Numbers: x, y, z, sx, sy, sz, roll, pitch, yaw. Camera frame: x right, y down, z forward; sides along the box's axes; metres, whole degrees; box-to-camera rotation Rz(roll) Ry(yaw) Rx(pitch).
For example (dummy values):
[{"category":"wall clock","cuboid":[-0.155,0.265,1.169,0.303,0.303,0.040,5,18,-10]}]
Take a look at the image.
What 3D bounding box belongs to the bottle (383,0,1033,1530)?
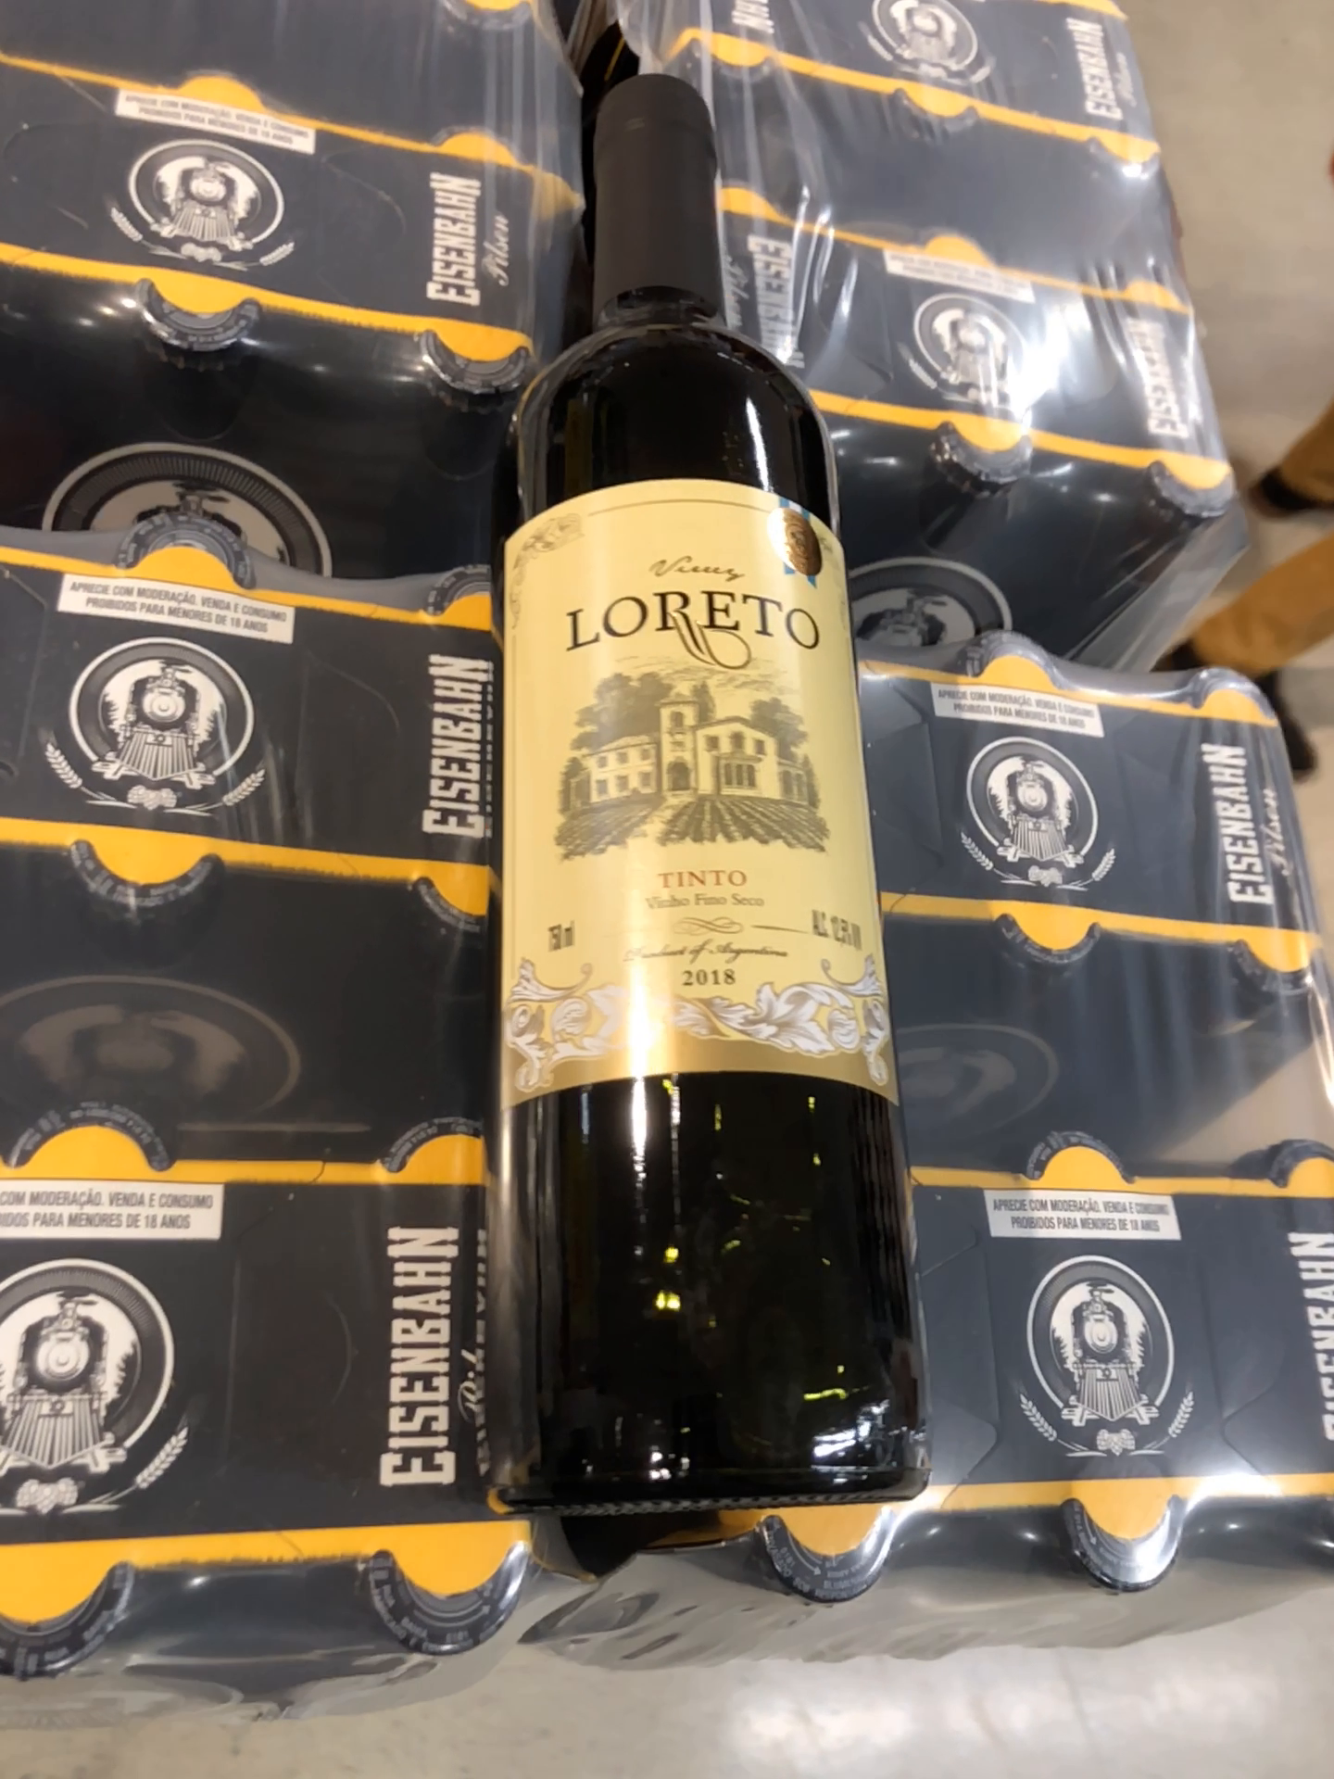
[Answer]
[{"category":"bottle","cuboid":[-0.003,-0.059,0.285,0.080,0.080,0.331,0,66,-4]}]
